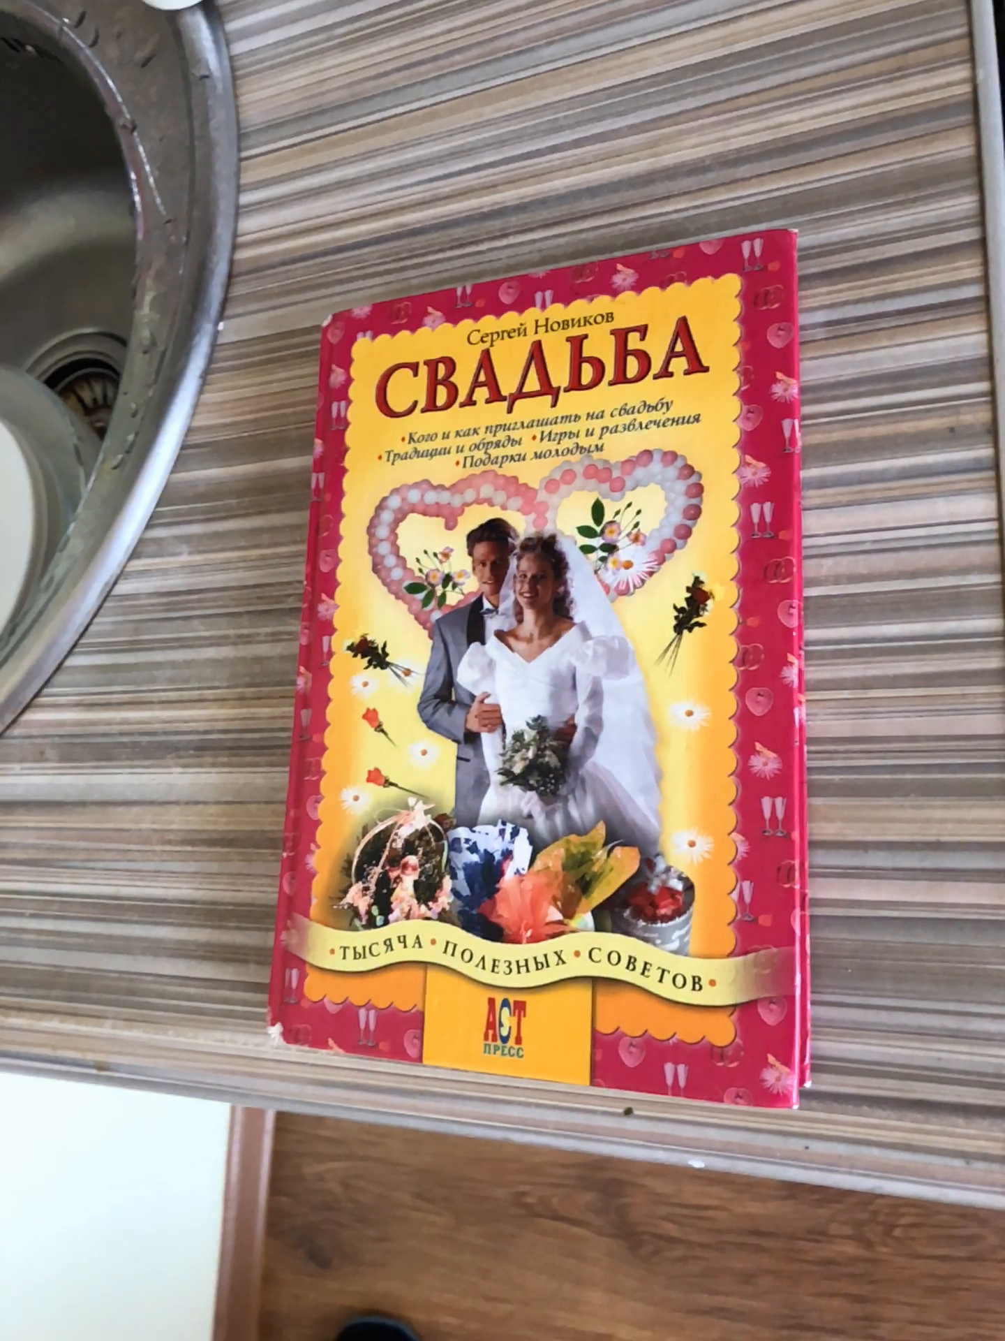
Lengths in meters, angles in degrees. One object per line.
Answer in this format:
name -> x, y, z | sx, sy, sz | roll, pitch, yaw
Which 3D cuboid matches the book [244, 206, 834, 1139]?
book -> 0.009, -0.004, 0.297 | 0.150, 0.020, 0.220 | -2, 78, 24
